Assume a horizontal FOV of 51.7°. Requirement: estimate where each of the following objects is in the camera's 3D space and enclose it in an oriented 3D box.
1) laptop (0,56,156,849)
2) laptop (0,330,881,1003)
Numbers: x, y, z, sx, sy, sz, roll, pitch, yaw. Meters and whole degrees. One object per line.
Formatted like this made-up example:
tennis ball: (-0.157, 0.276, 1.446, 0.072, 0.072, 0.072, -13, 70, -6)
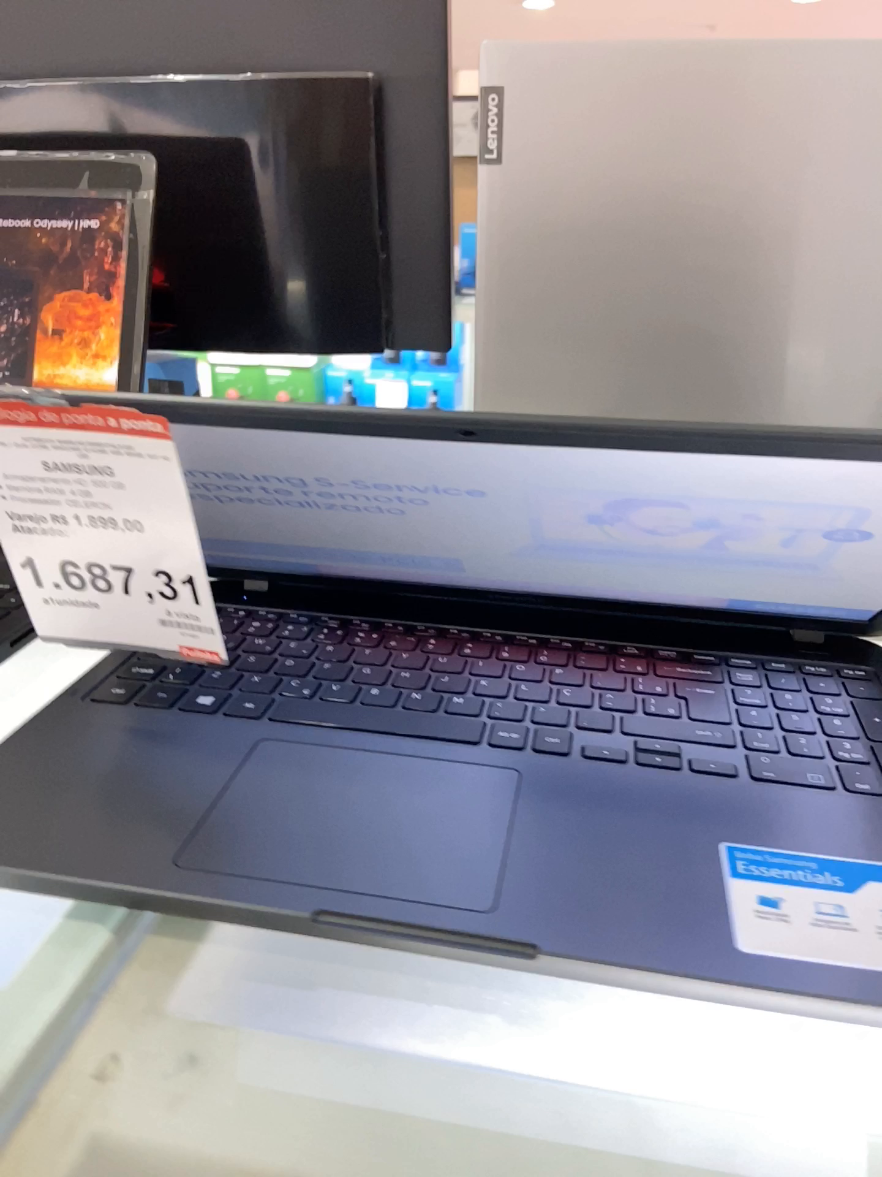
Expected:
laptop: (-0.404, -0.115, 0.473, 0.393, 0.223, 0.373, 5, 22, 7)
laptop: (0.018, -0.010, 0.360, 0.366, 0.140, 0.236, 5, 22, 9)
